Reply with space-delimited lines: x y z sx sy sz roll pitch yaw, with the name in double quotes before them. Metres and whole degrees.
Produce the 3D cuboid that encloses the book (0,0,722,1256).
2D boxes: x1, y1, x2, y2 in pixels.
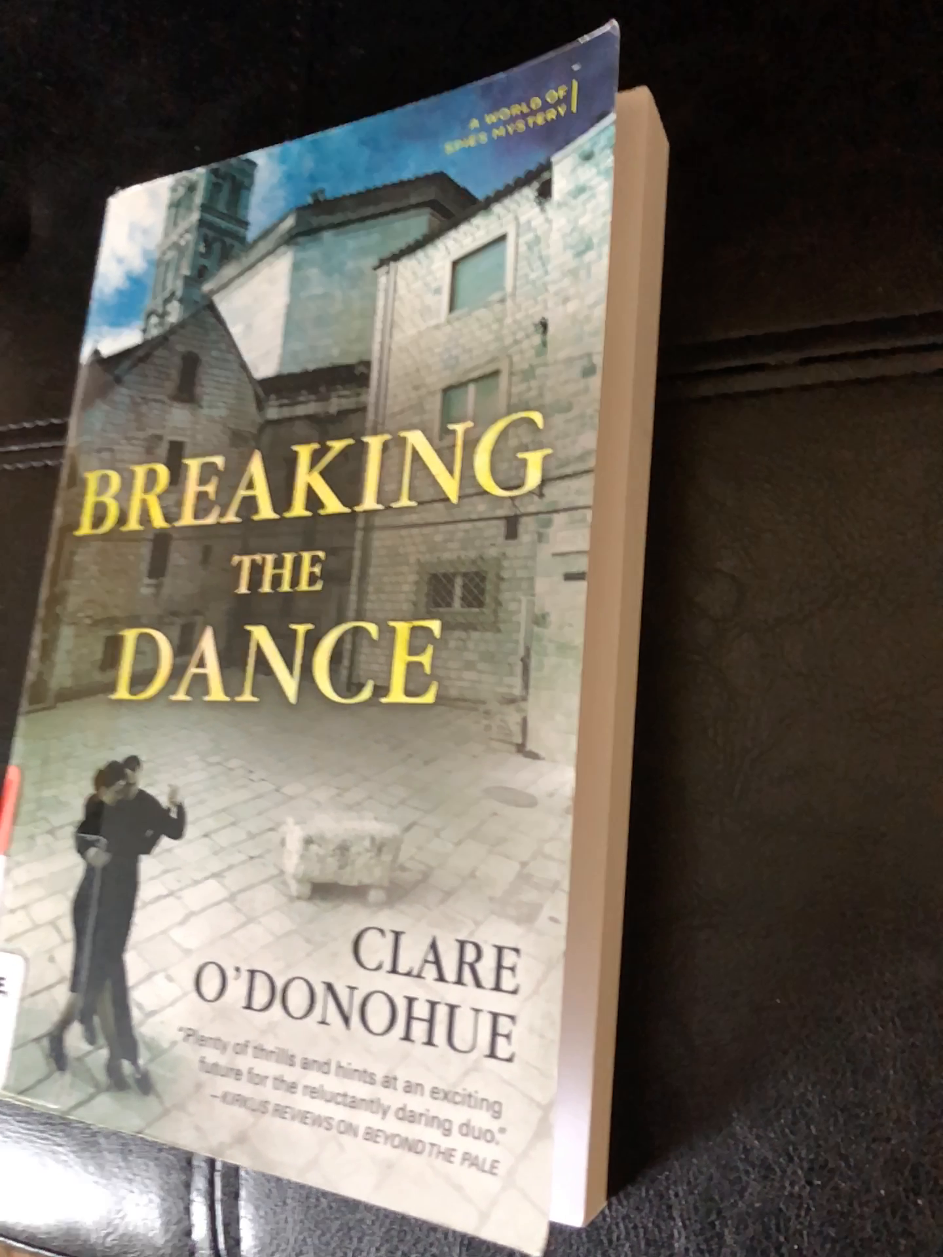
"book" -0.029 -0.005 0.209 0.140 0.040 0.210 0 79 23
